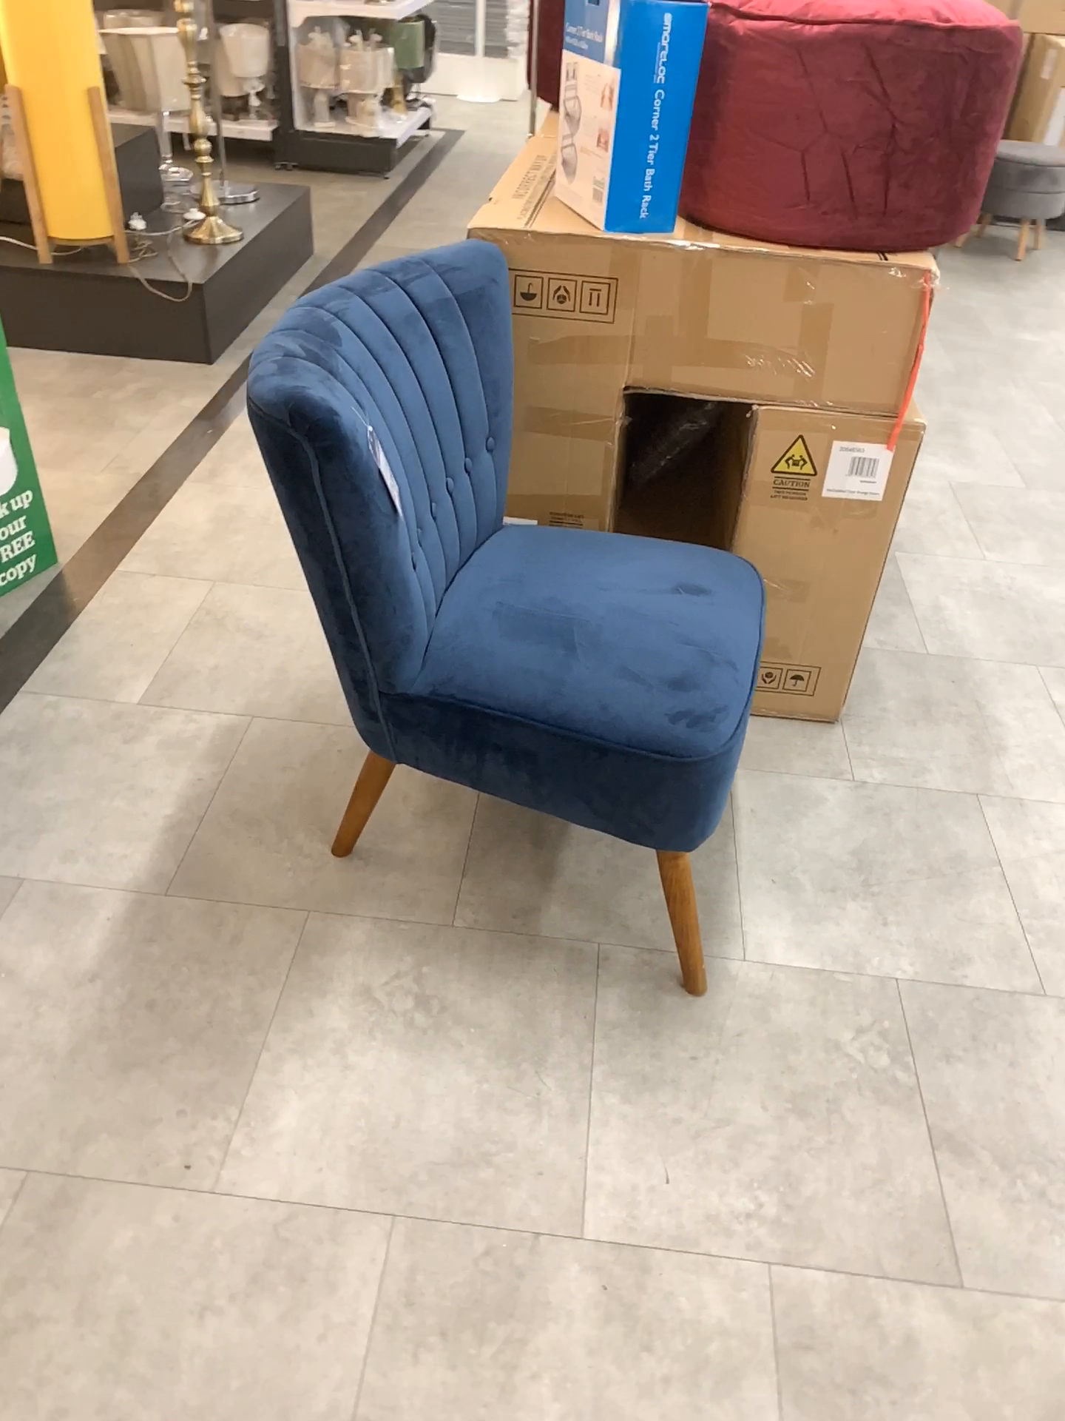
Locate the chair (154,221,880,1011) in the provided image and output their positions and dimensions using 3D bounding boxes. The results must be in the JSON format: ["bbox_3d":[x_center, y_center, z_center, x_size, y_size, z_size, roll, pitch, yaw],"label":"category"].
[{"bbox_3d":[0.011,-0.165,1.560,0.720,0.792,0.697,9,37,6],"label":"chair"}]
